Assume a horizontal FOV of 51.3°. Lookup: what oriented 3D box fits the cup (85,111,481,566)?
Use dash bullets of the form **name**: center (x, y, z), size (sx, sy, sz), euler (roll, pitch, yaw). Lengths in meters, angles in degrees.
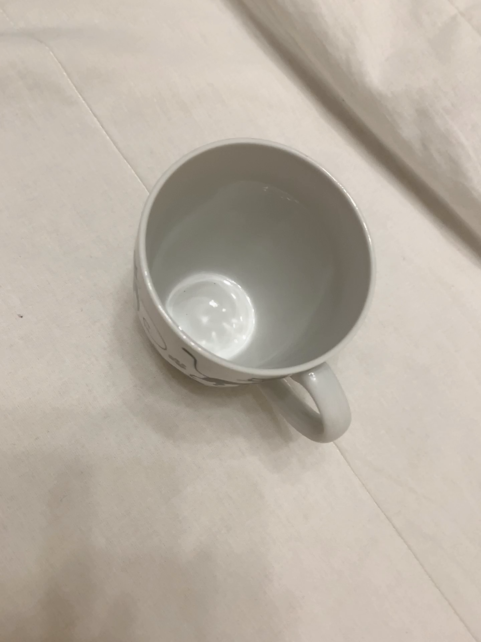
- **cup**: center (0.006, 0.005, 0.187), size (0.081, 0.077, 0.119), euler (-22, 81, -18)
